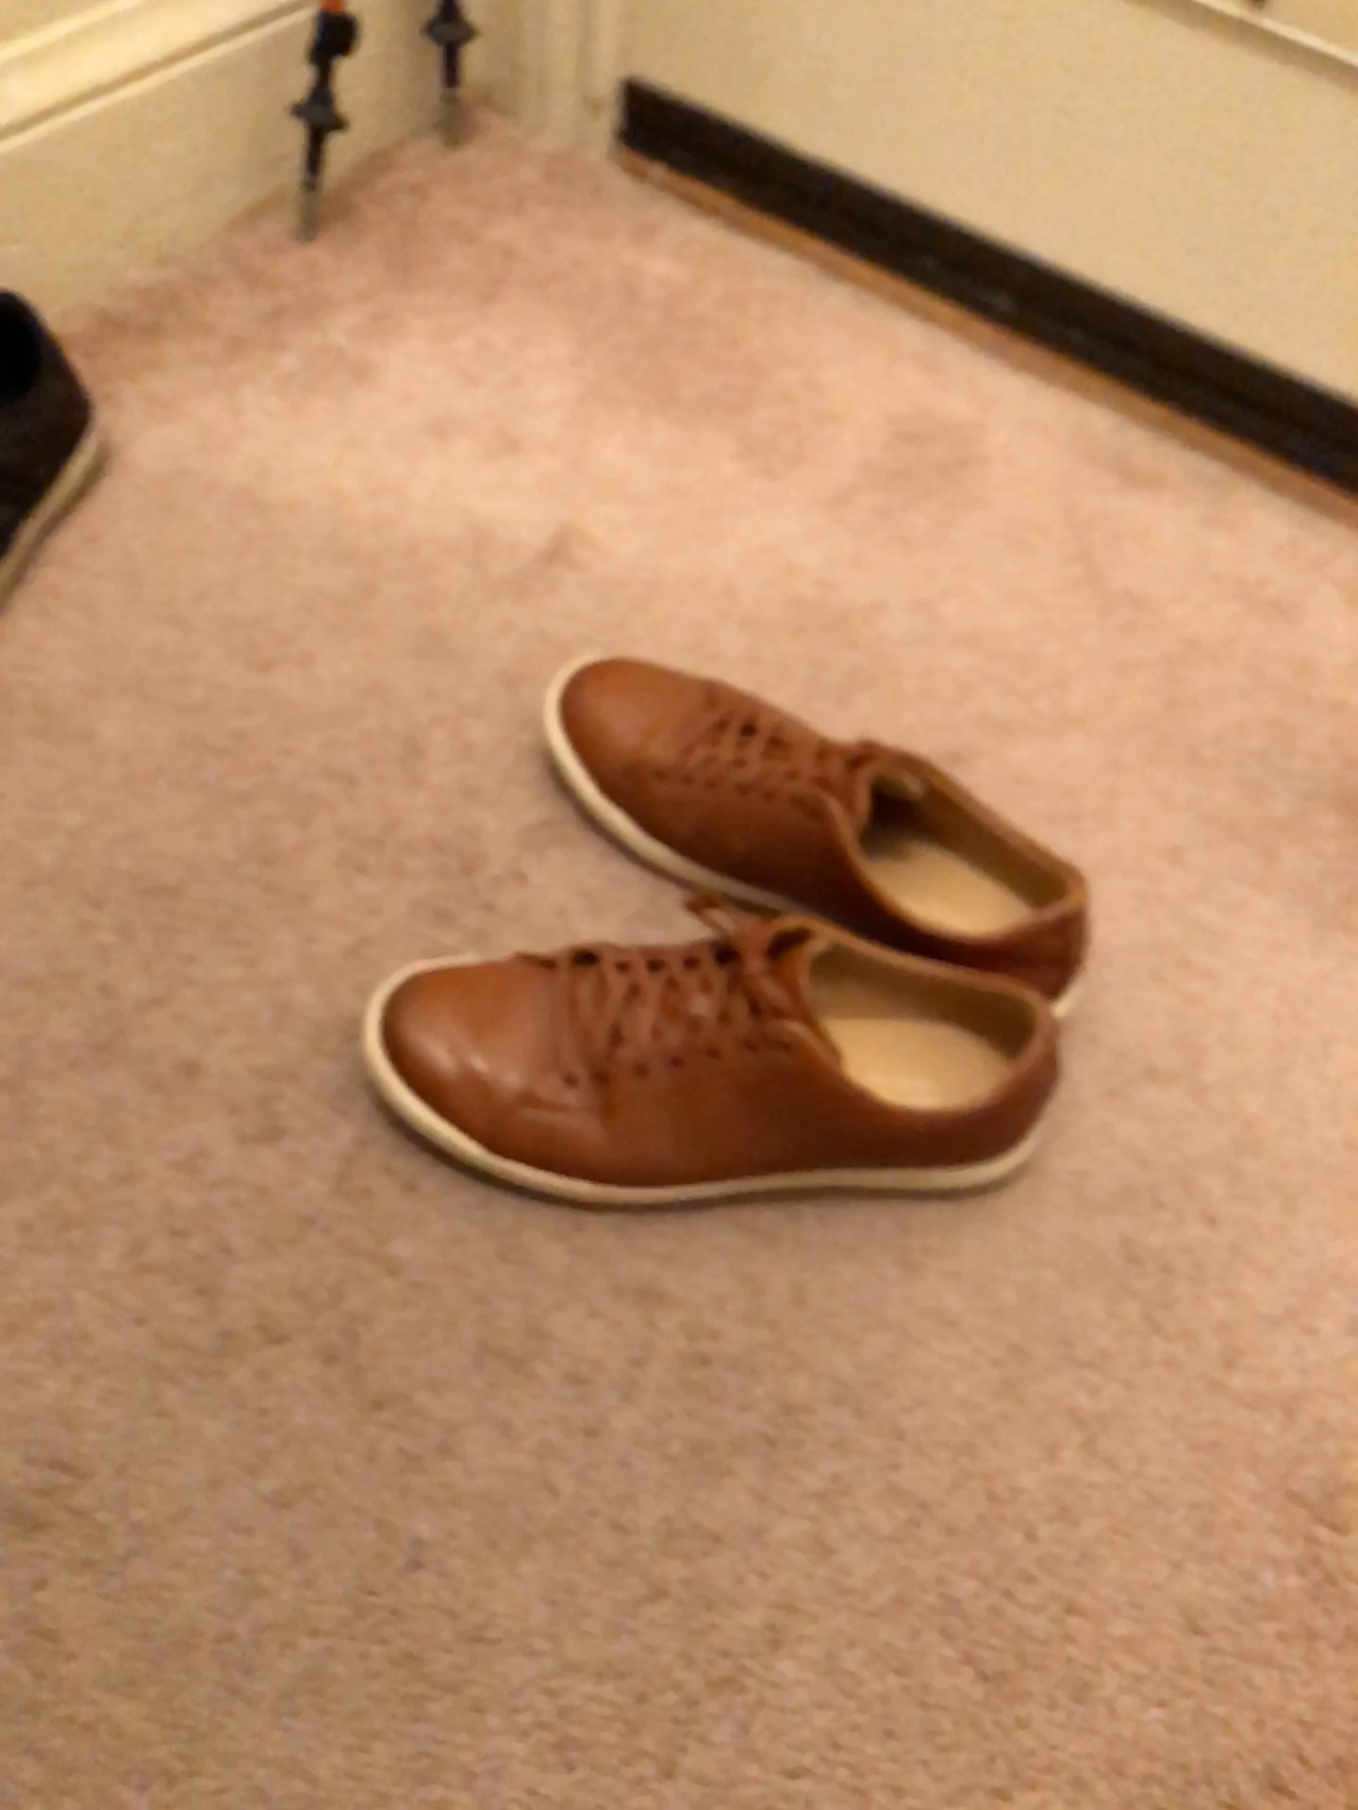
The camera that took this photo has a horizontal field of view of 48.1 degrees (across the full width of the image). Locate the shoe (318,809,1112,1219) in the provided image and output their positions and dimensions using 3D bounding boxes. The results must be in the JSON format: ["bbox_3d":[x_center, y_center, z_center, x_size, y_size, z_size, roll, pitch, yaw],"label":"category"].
[{"bbox_3d":[0.012,0.046,0.618,0.285,0.100,0.118,3,54,-4],"label":"shoe"}]

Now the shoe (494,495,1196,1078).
[{"bbox_3d":[0.066,-0.059,0.700,0.285,0.102,0.118,29,57,15],"label":"shoe"}]
